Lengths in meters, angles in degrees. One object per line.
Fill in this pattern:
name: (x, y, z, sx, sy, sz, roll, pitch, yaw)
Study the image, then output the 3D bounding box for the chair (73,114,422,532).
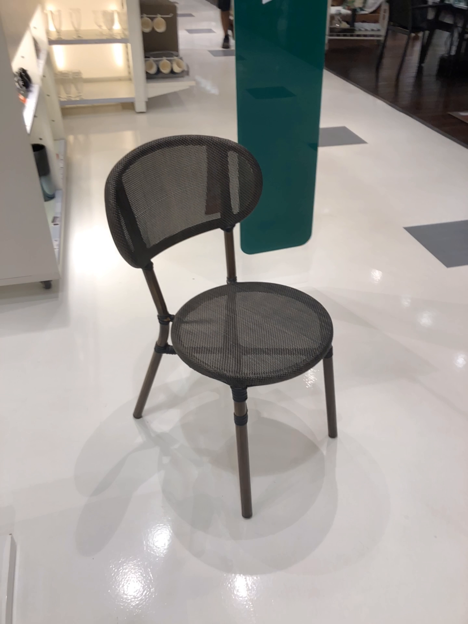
chair: (0.021, 0.001, 1.291, 0.552, 0.764, 0.472, 31, 46, 34)
